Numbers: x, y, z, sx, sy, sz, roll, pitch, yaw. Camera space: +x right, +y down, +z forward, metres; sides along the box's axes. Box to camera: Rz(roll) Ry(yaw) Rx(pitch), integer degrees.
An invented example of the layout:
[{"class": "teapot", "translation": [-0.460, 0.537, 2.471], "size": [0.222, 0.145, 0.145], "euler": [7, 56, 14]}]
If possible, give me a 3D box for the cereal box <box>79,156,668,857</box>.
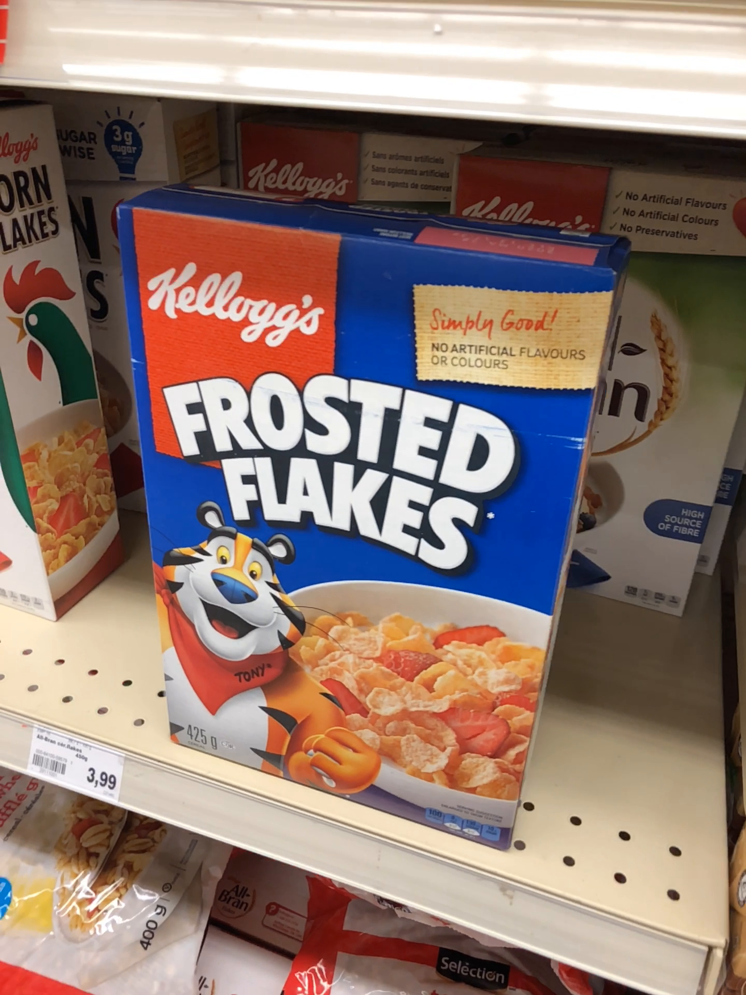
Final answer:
[{"class": "cereal box", "translation": [-0.008, 0.008, 0.369], "size": [0.210, 0.278, 0.060], "euler": [12, 30, 17]}]
